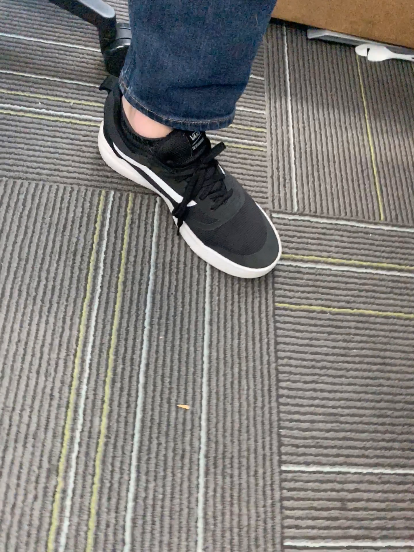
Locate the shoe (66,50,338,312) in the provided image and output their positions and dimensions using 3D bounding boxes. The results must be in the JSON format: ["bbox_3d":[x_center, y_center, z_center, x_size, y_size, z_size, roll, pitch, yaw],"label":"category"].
[{"bbox_3d":[-0.014,-0.119,0.539,0.320,0.110,0.120,42,67,8],"label":"shoe"}]
